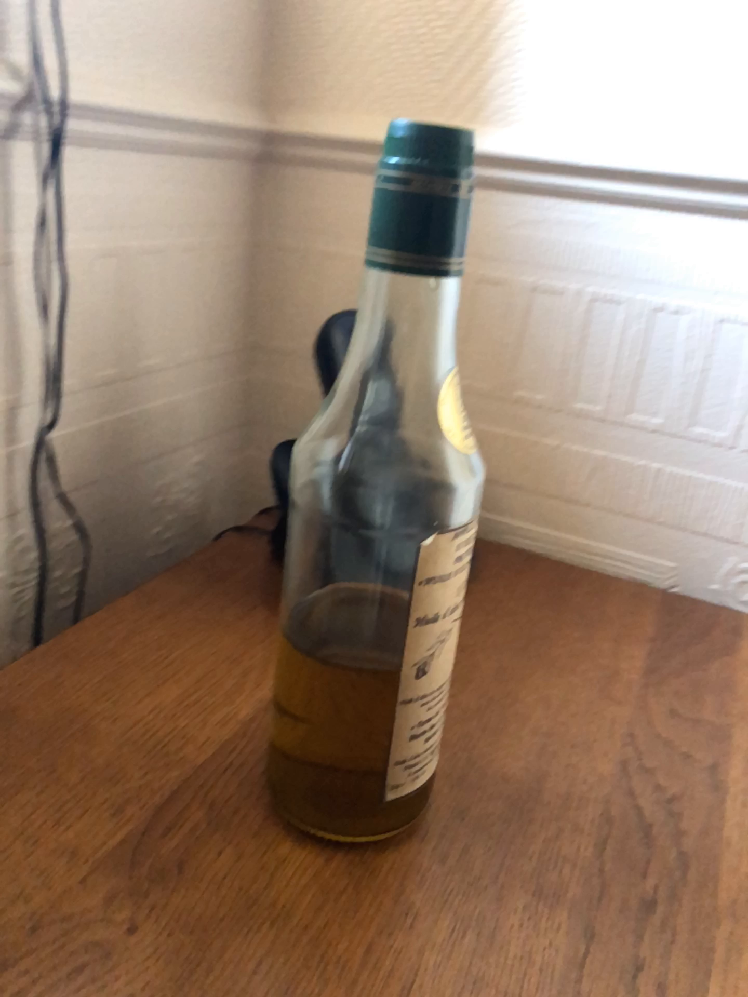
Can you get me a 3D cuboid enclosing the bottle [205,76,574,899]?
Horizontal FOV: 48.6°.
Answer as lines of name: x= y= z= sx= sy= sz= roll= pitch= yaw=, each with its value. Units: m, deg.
bottle: x=-0.001 y=0.002 z=0.292 sx=0.080 sy=0.259 sz=0.070 roll=15 pitch=23 yaw=21
